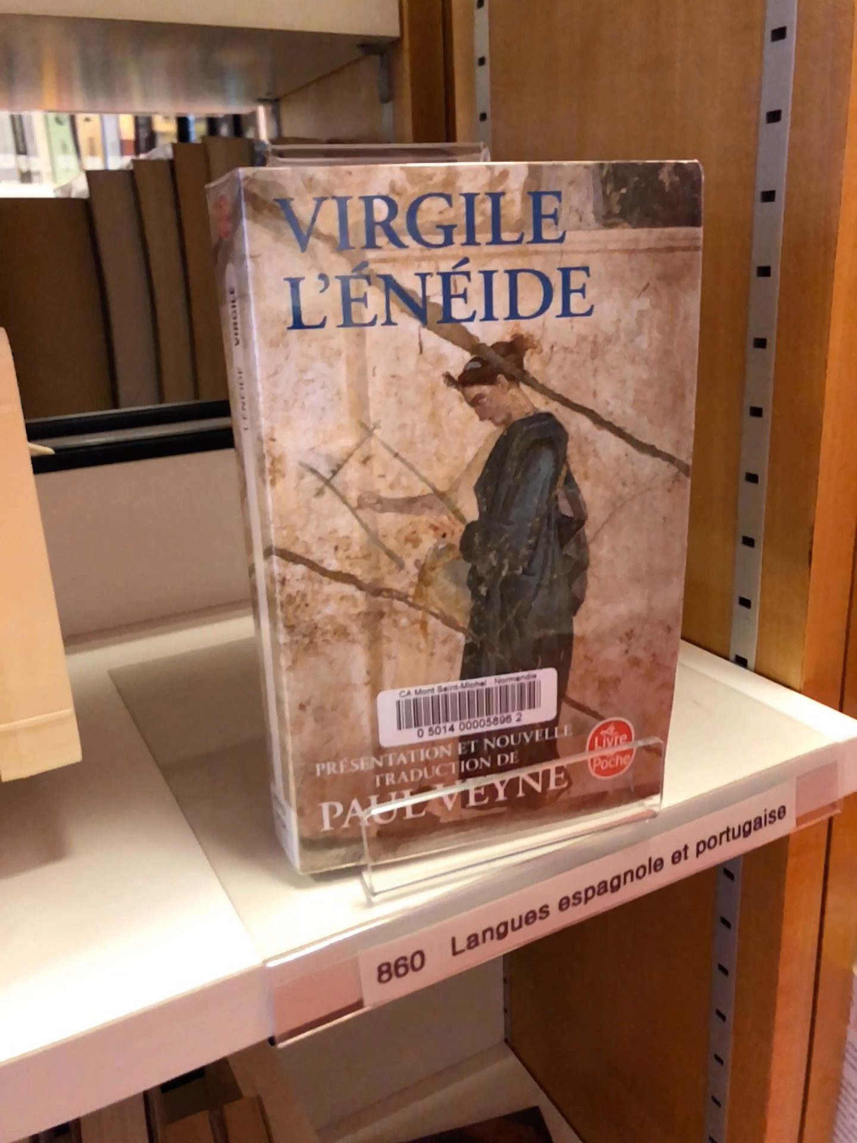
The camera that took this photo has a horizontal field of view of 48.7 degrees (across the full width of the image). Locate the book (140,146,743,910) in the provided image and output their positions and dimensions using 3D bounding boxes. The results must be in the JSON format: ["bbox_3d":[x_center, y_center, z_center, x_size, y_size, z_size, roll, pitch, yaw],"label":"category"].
[{"bbox_3d":[0.003,-0.018,0.257,0.132,0.168,0.073,-8,17,-17],"label":"book"}]
